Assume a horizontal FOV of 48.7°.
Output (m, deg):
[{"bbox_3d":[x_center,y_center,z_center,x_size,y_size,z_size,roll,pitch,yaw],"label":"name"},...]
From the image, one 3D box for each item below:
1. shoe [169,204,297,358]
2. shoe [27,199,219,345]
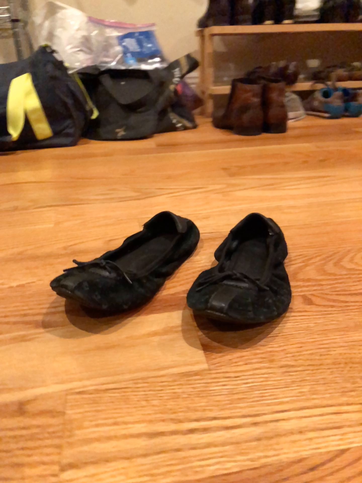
[{"bbox_3d":[0.067,0.022,0.418,0.093,0.046,0.221,6,26,16],"label":"shoe"},{"bbox_3d":[-0.045,0.015,0.442,0.100,0.050,0.221,10,27,24],"label":"shoe"}]
